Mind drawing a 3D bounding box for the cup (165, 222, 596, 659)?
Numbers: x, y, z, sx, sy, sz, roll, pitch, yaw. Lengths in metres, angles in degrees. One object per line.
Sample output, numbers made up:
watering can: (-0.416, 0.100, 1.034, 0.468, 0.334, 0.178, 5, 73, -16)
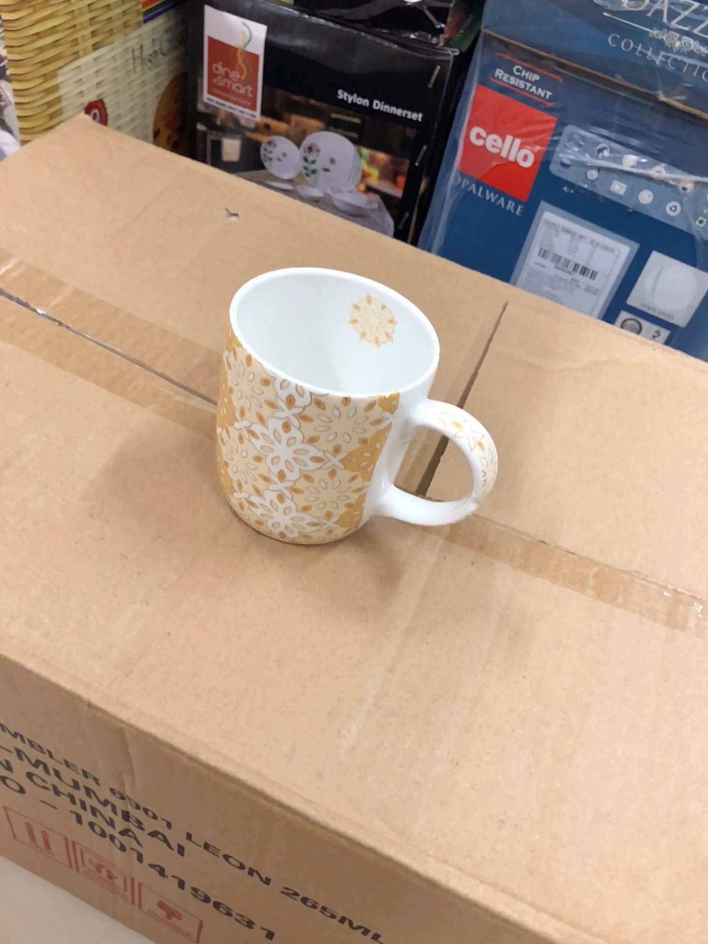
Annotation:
cup: (0.005, -0.015, 0.296, 0.120, 0.089, 0.081, 33, 46, 14)
